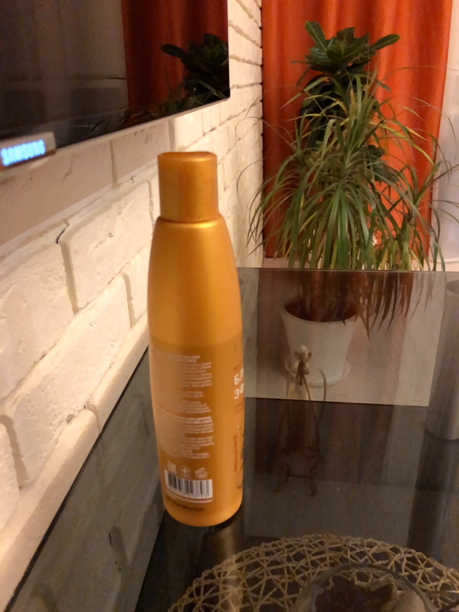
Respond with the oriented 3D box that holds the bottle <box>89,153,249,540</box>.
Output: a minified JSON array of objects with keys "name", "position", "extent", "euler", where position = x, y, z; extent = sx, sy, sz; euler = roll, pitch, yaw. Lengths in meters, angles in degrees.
[{"name":"bottle","position":[-0.022,0.027,0.263],"extent":[0.060,0.199,0.050],"euler":[-1,23,2]}]
